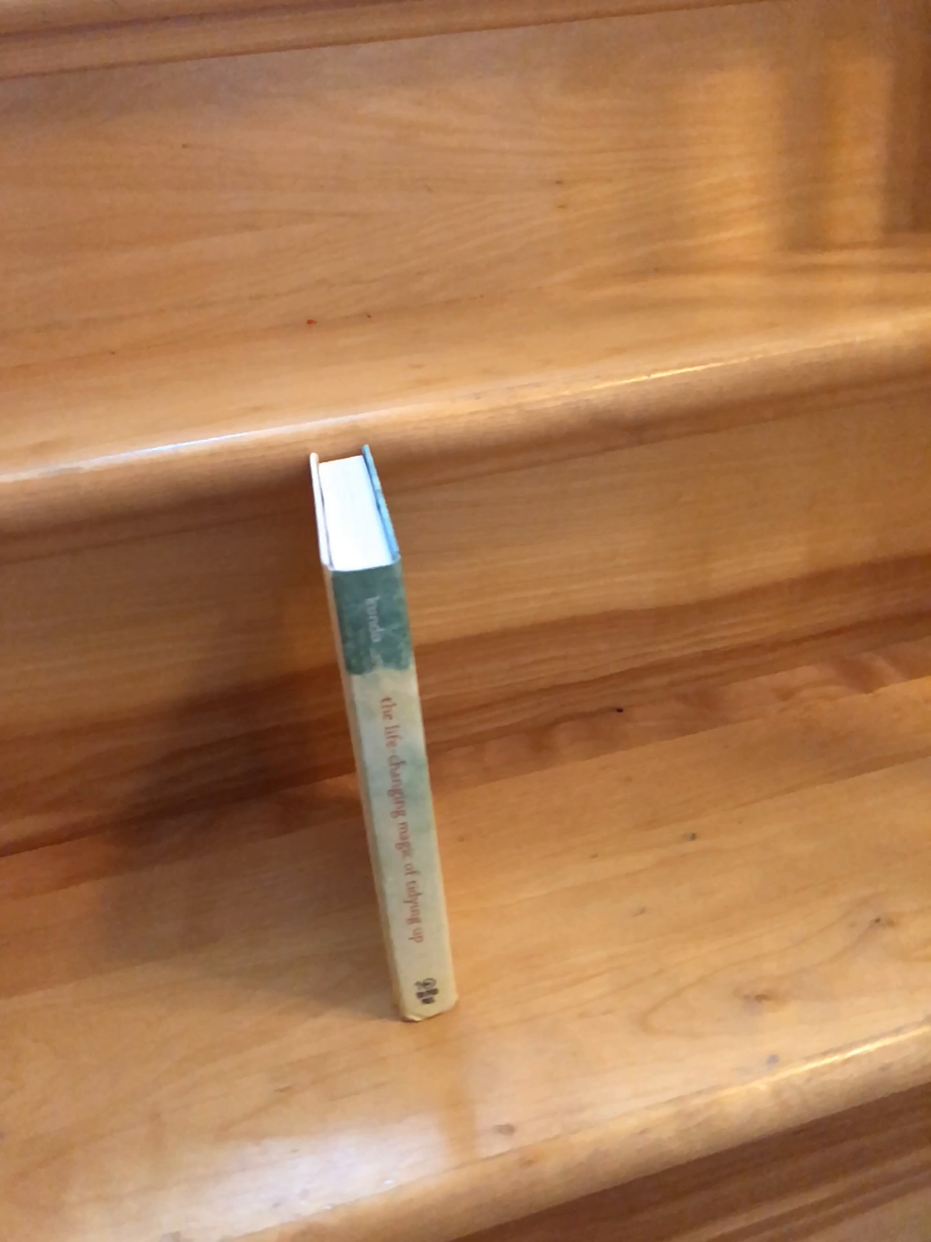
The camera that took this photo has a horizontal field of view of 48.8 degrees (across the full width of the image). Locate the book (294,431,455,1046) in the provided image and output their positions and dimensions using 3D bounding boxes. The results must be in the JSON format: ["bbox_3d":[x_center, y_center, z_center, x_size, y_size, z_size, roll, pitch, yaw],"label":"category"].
[{"bbox_3d":[-0.038,0.041,0.412,0.027,0.199,0.141,-9,26,-6],"label":"book"}]
